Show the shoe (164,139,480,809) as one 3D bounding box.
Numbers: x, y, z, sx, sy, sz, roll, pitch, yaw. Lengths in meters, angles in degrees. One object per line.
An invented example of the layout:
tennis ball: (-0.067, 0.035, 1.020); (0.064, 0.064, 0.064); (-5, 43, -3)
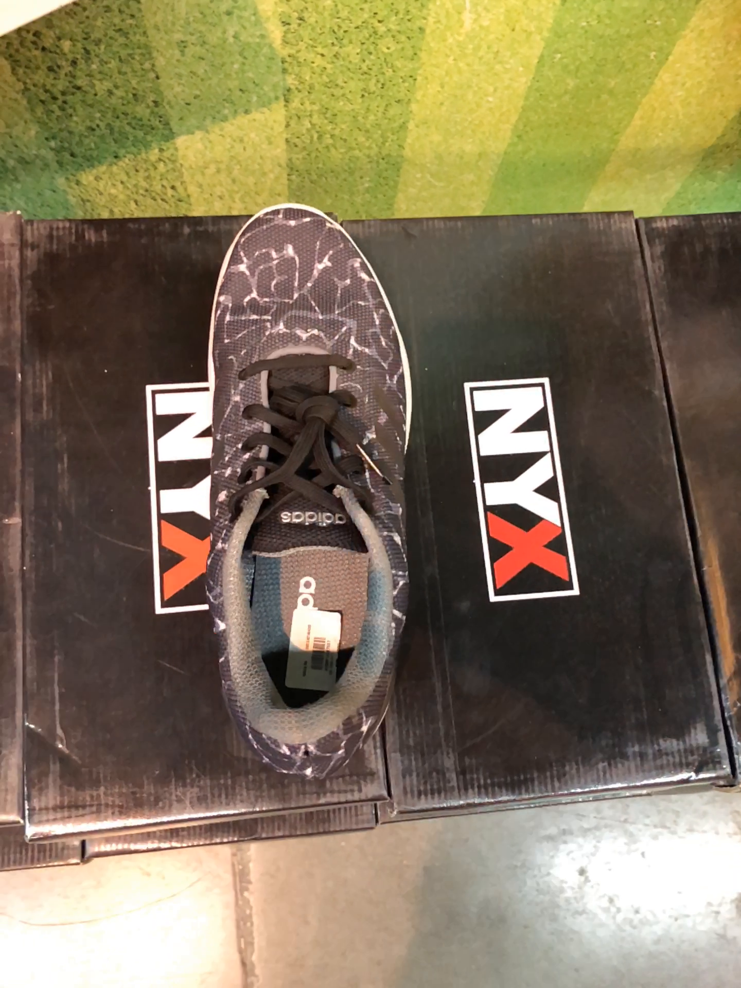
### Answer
shoe: (-0.023, -0.007, 0.371); (0.109, 0.122, 0.261); (-1, 77, -4)
